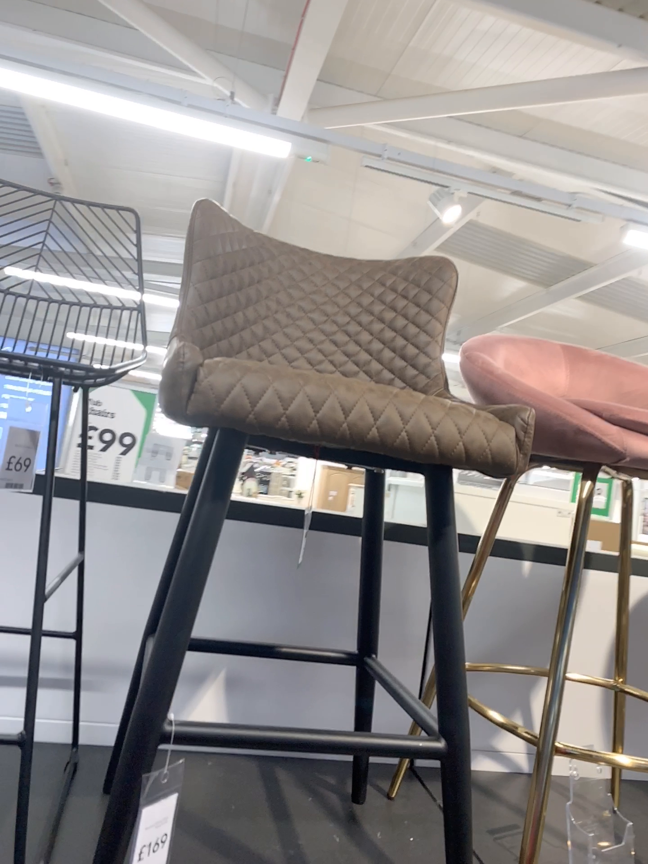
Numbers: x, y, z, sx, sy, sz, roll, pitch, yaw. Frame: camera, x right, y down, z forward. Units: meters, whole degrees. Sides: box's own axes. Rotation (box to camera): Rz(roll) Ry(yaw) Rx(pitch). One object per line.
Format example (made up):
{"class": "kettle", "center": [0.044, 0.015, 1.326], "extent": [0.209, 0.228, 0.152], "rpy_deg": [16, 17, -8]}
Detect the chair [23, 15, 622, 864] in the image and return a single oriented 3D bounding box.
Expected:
{"class": "chair", "center": [-0.029, 0.102, 0.957], "extent": [0.535, 0.997, 0.465], "rpy_deg": [11, -2, -19]}
